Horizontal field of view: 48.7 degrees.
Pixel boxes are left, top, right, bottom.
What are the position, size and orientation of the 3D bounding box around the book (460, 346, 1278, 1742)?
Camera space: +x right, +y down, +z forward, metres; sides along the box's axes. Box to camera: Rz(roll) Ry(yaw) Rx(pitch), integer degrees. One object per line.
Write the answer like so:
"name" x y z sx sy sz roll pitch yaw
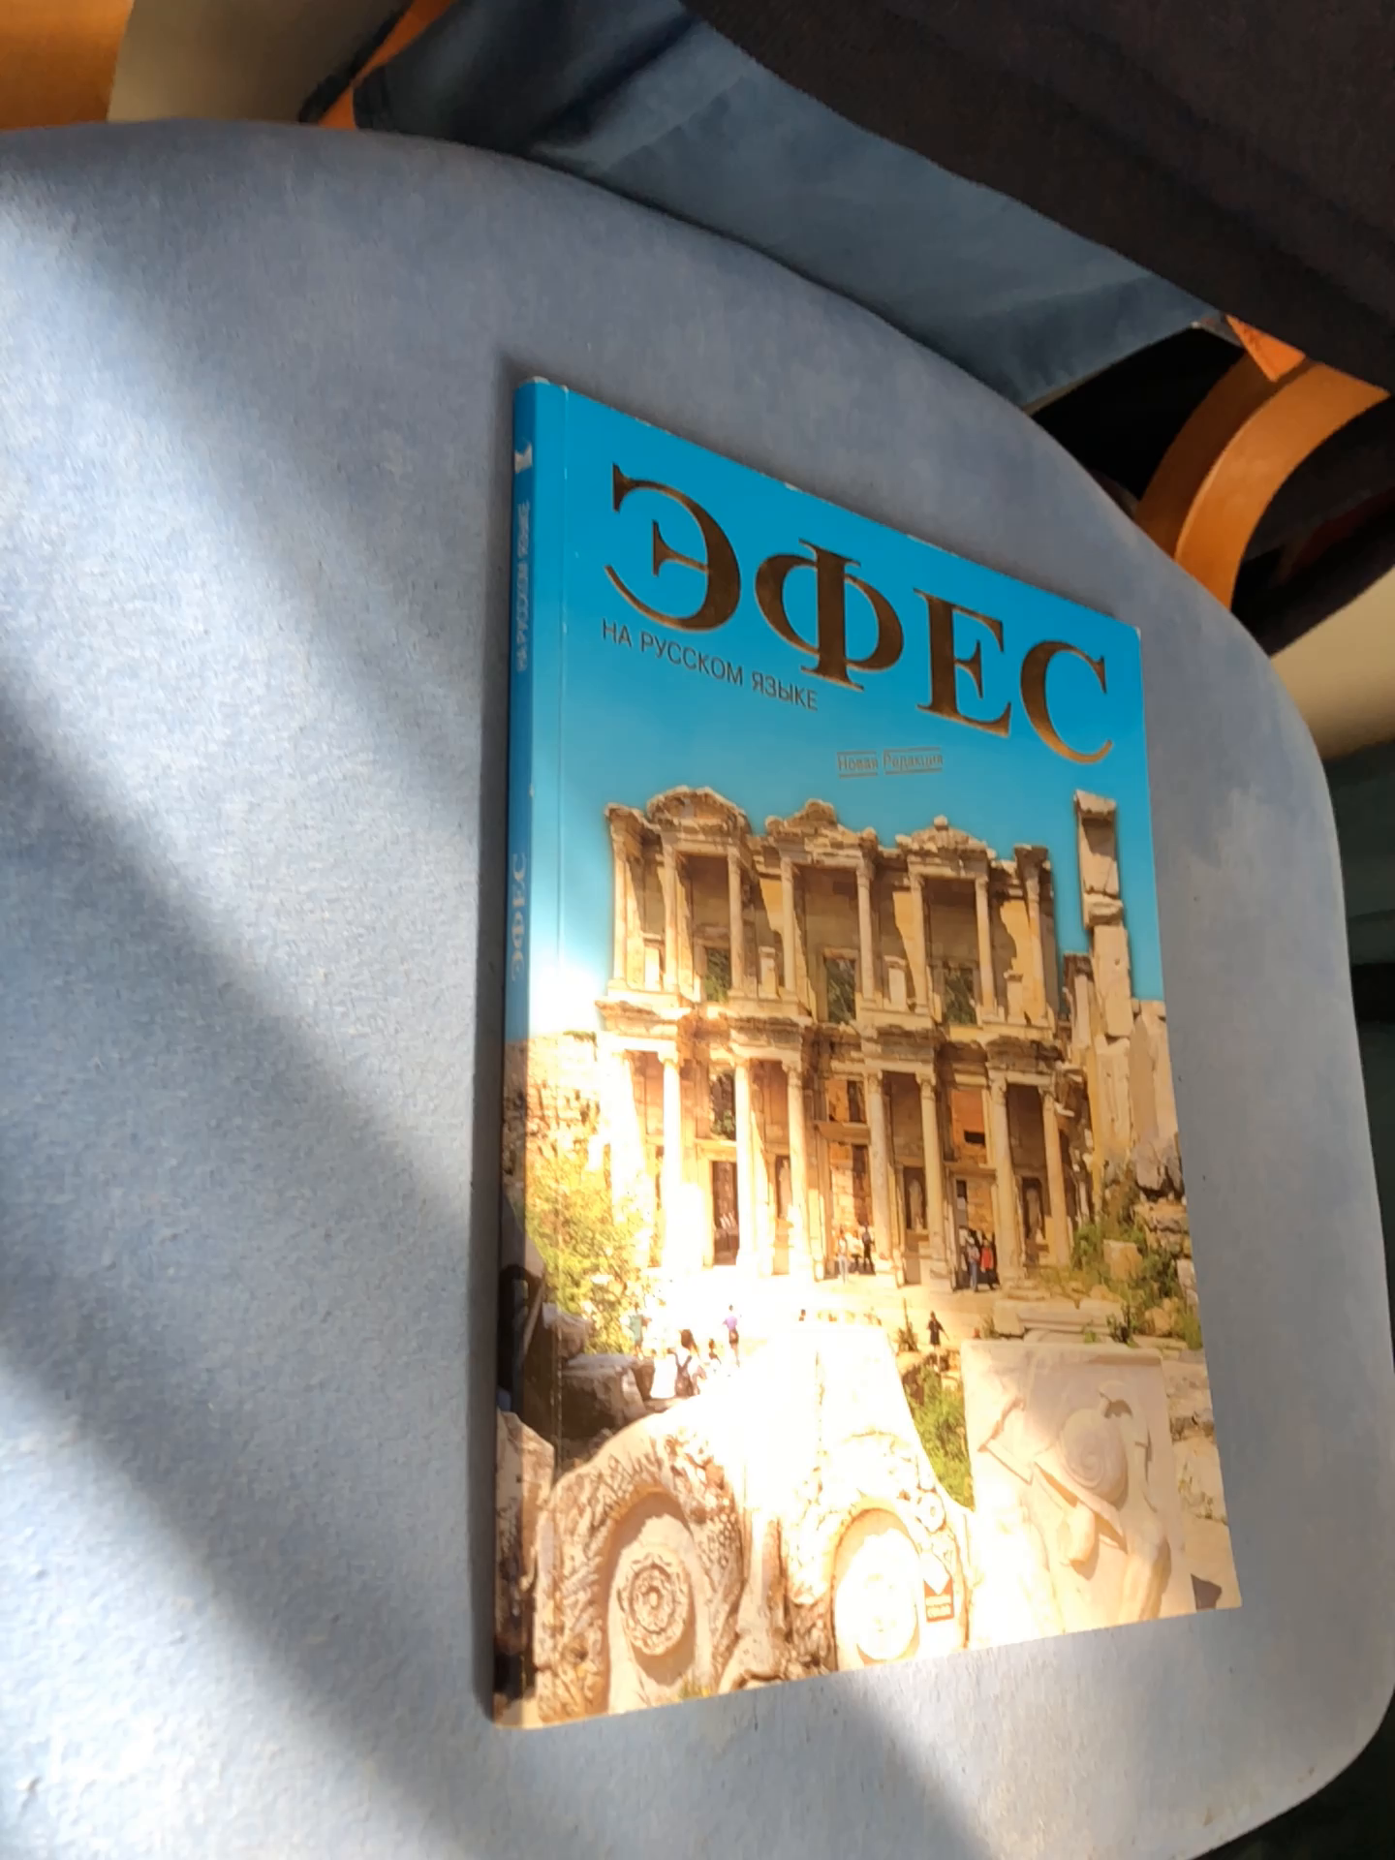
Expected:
"book" 0.047 0.023 0.327 0.197 0.020 0.240 12 71 -36
